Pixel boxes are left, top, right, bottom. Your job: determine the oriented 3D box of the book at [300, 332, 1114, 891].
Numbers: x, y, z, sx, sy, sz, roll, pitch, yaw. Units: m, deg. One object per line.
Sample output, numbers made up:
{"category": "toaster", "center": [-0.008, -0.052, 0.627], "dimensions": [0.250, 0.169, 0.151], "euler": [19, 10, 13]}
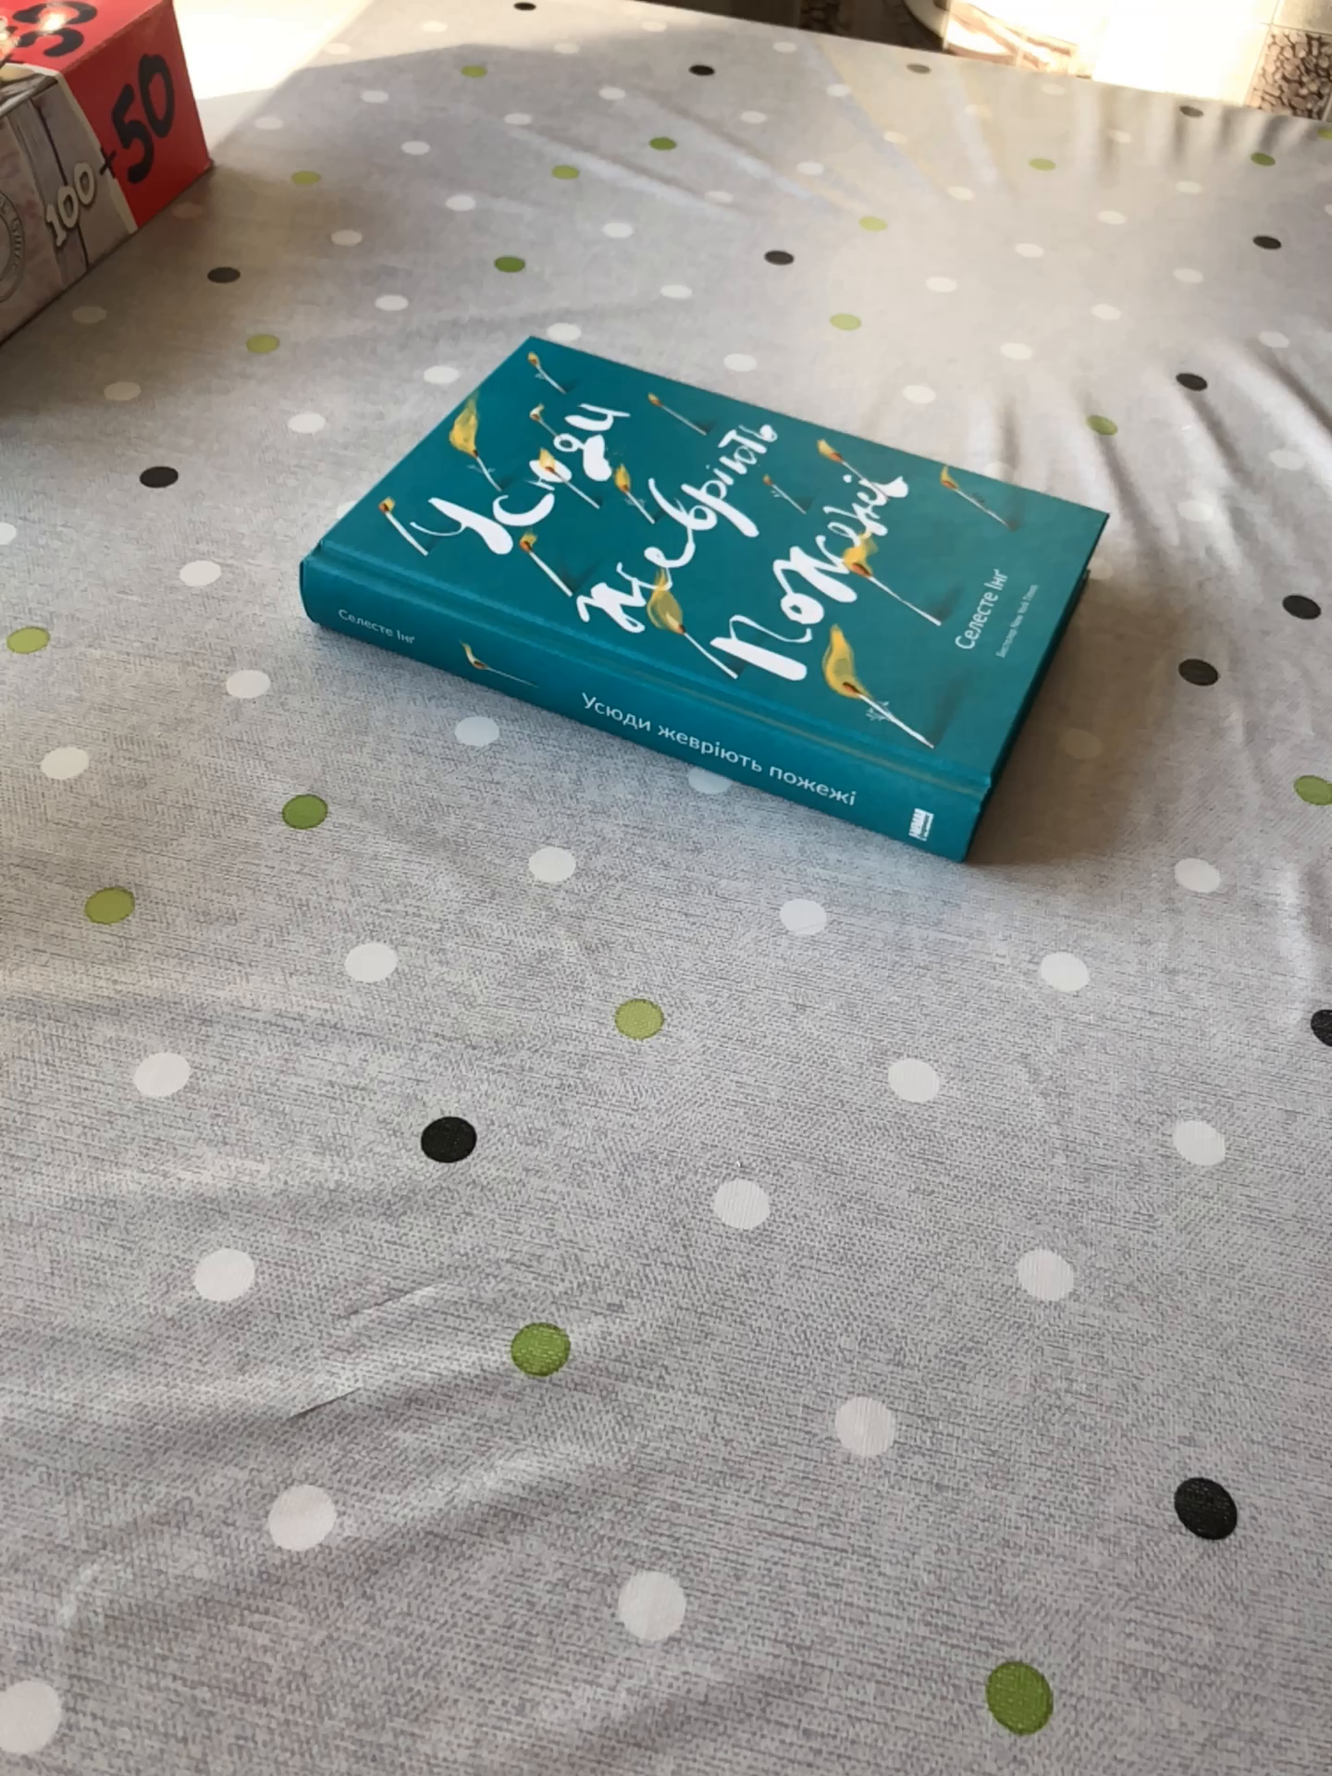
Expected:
{"category": "book", "center": [0.017, -0.098, 0.470], "dimensions": [0.213, 0.040, 0.144], "euler": [21, 51, 13]}
